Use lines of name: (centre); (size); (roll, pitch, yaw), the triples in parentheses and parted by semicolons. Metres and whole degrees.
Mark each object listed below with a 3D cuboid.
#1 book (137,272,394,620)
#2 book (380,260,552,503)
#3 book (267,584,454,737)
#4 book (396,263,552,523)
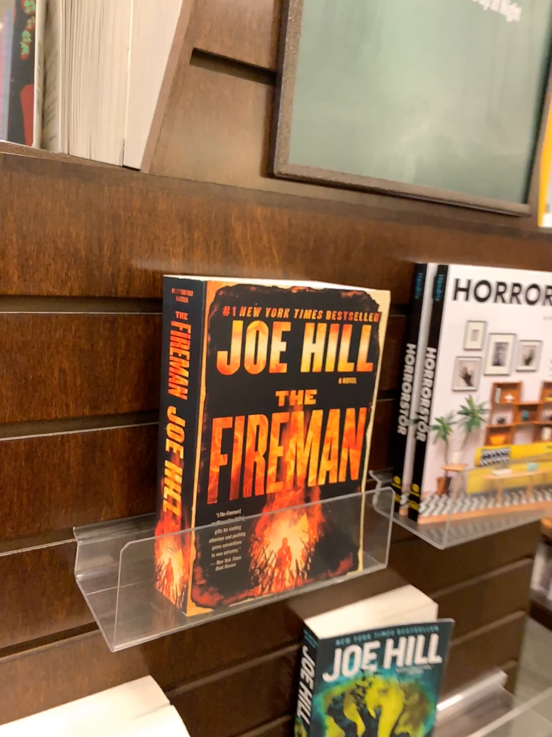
book: (-0.008, 0.038, 0.381); (0.146, 0.194, 0.069); (-3, 11, -33)
book: (0.193, 0.011, 0.533); (0.188, 0.208, 0.026); (0, 9, -23)
book: (0.083, 0.337, 0.573); (0.159, 0.202, 0.062); (0, 9, -23)
book: (0.200, 0.020, 0.499); (0.188, 0.208, 0.026); (0, 9, -23)
